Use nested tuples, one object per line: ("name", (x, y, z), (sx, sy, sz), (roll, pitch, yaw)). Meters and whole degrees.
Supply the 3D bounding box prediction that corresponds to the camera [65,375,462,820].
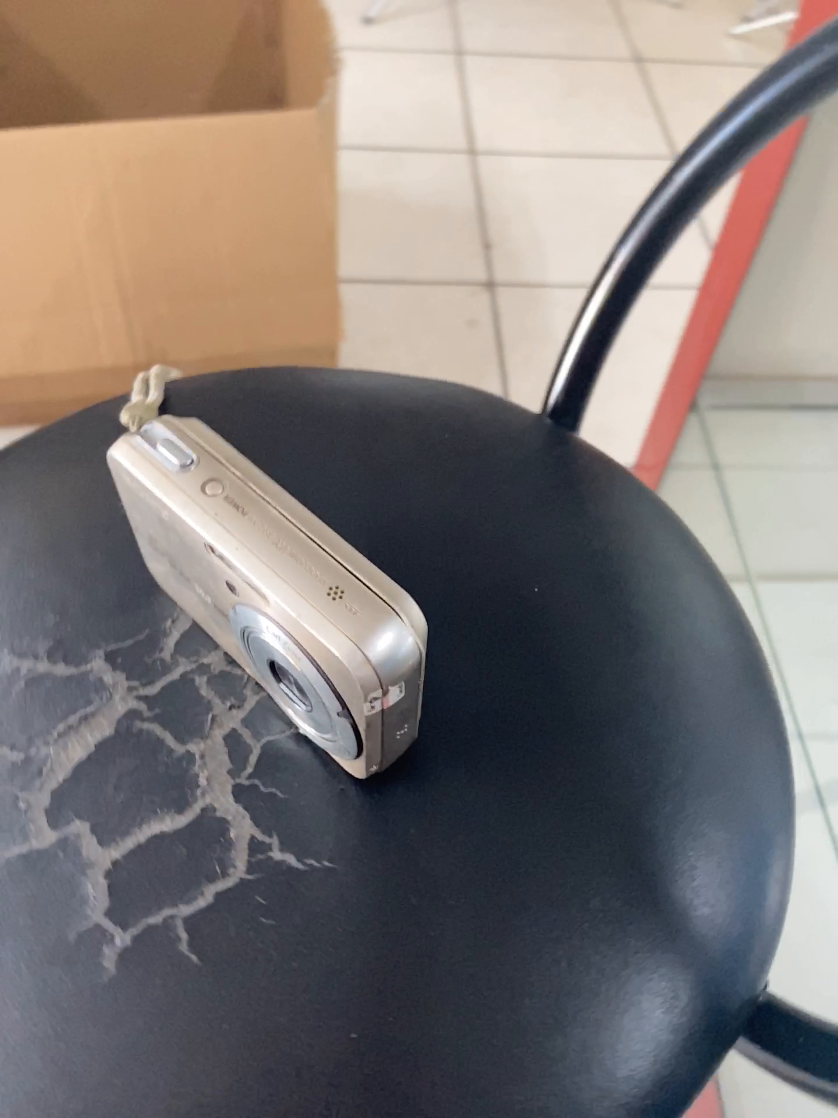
("camera", (-0.042, 0.009, 0.231), (0.110, 0.060, 0.030), (40, 61, 23))
